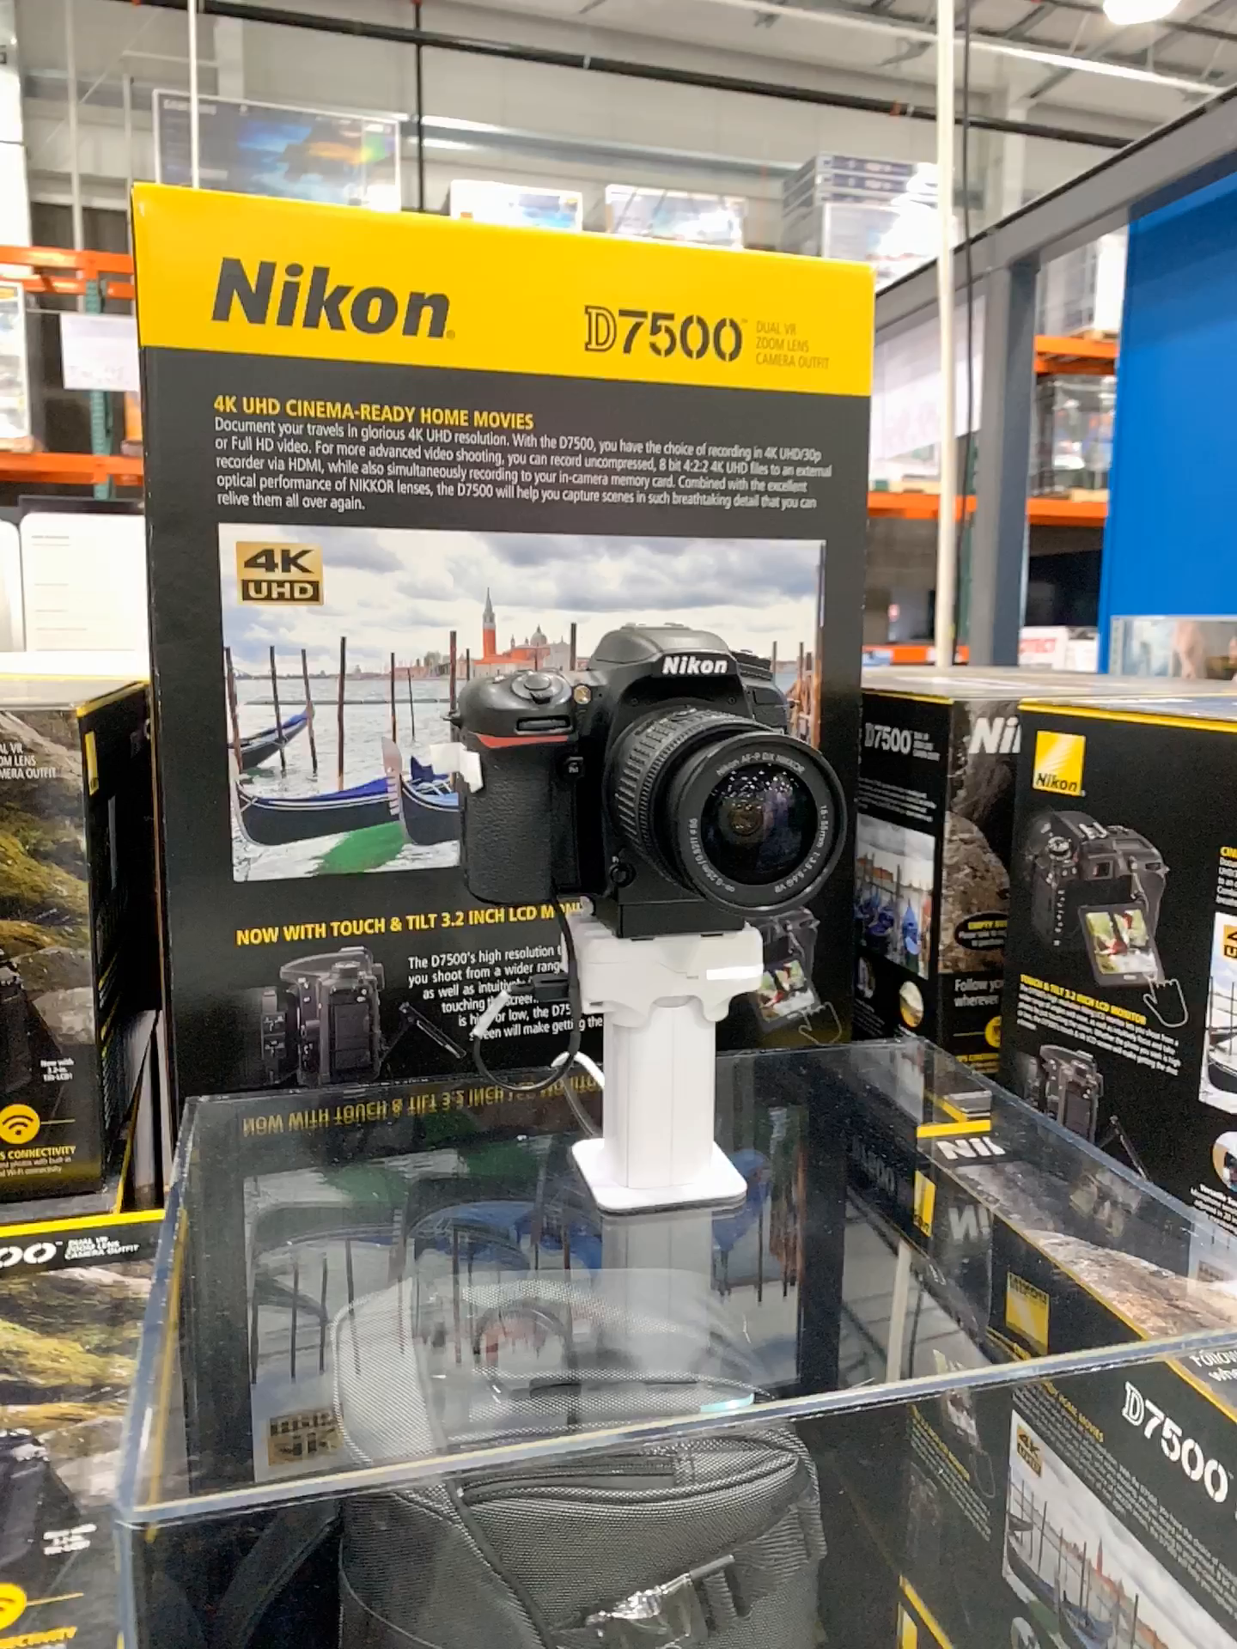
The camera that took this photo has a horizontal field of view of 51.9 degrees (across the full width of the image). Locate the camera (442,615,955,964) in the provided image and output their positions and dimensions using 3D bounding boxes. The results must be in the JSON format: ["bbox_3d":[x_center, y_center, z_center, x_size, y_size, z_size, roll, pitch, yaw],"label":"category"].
[{"bbox_3d":[0.022,-0.020,0.471,0.160,0.110,0.110,-2,8,-15],"label":"camera"}]
